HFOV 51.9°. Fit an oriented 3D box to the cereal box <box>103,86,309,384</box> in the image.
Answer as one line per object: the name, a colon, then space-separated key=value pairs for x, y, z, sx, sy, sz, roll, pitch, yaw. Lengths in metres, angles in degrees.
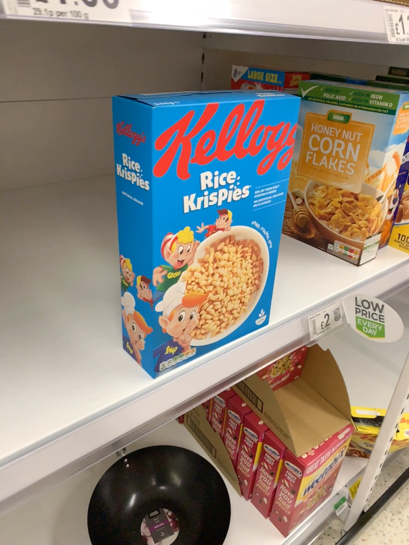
cereal box: x=0.001 y=-0.046 z=0.481 sx=0.201 sy=0.297 sz=0.070 roll=-18 pitch=36 yaw=-34
